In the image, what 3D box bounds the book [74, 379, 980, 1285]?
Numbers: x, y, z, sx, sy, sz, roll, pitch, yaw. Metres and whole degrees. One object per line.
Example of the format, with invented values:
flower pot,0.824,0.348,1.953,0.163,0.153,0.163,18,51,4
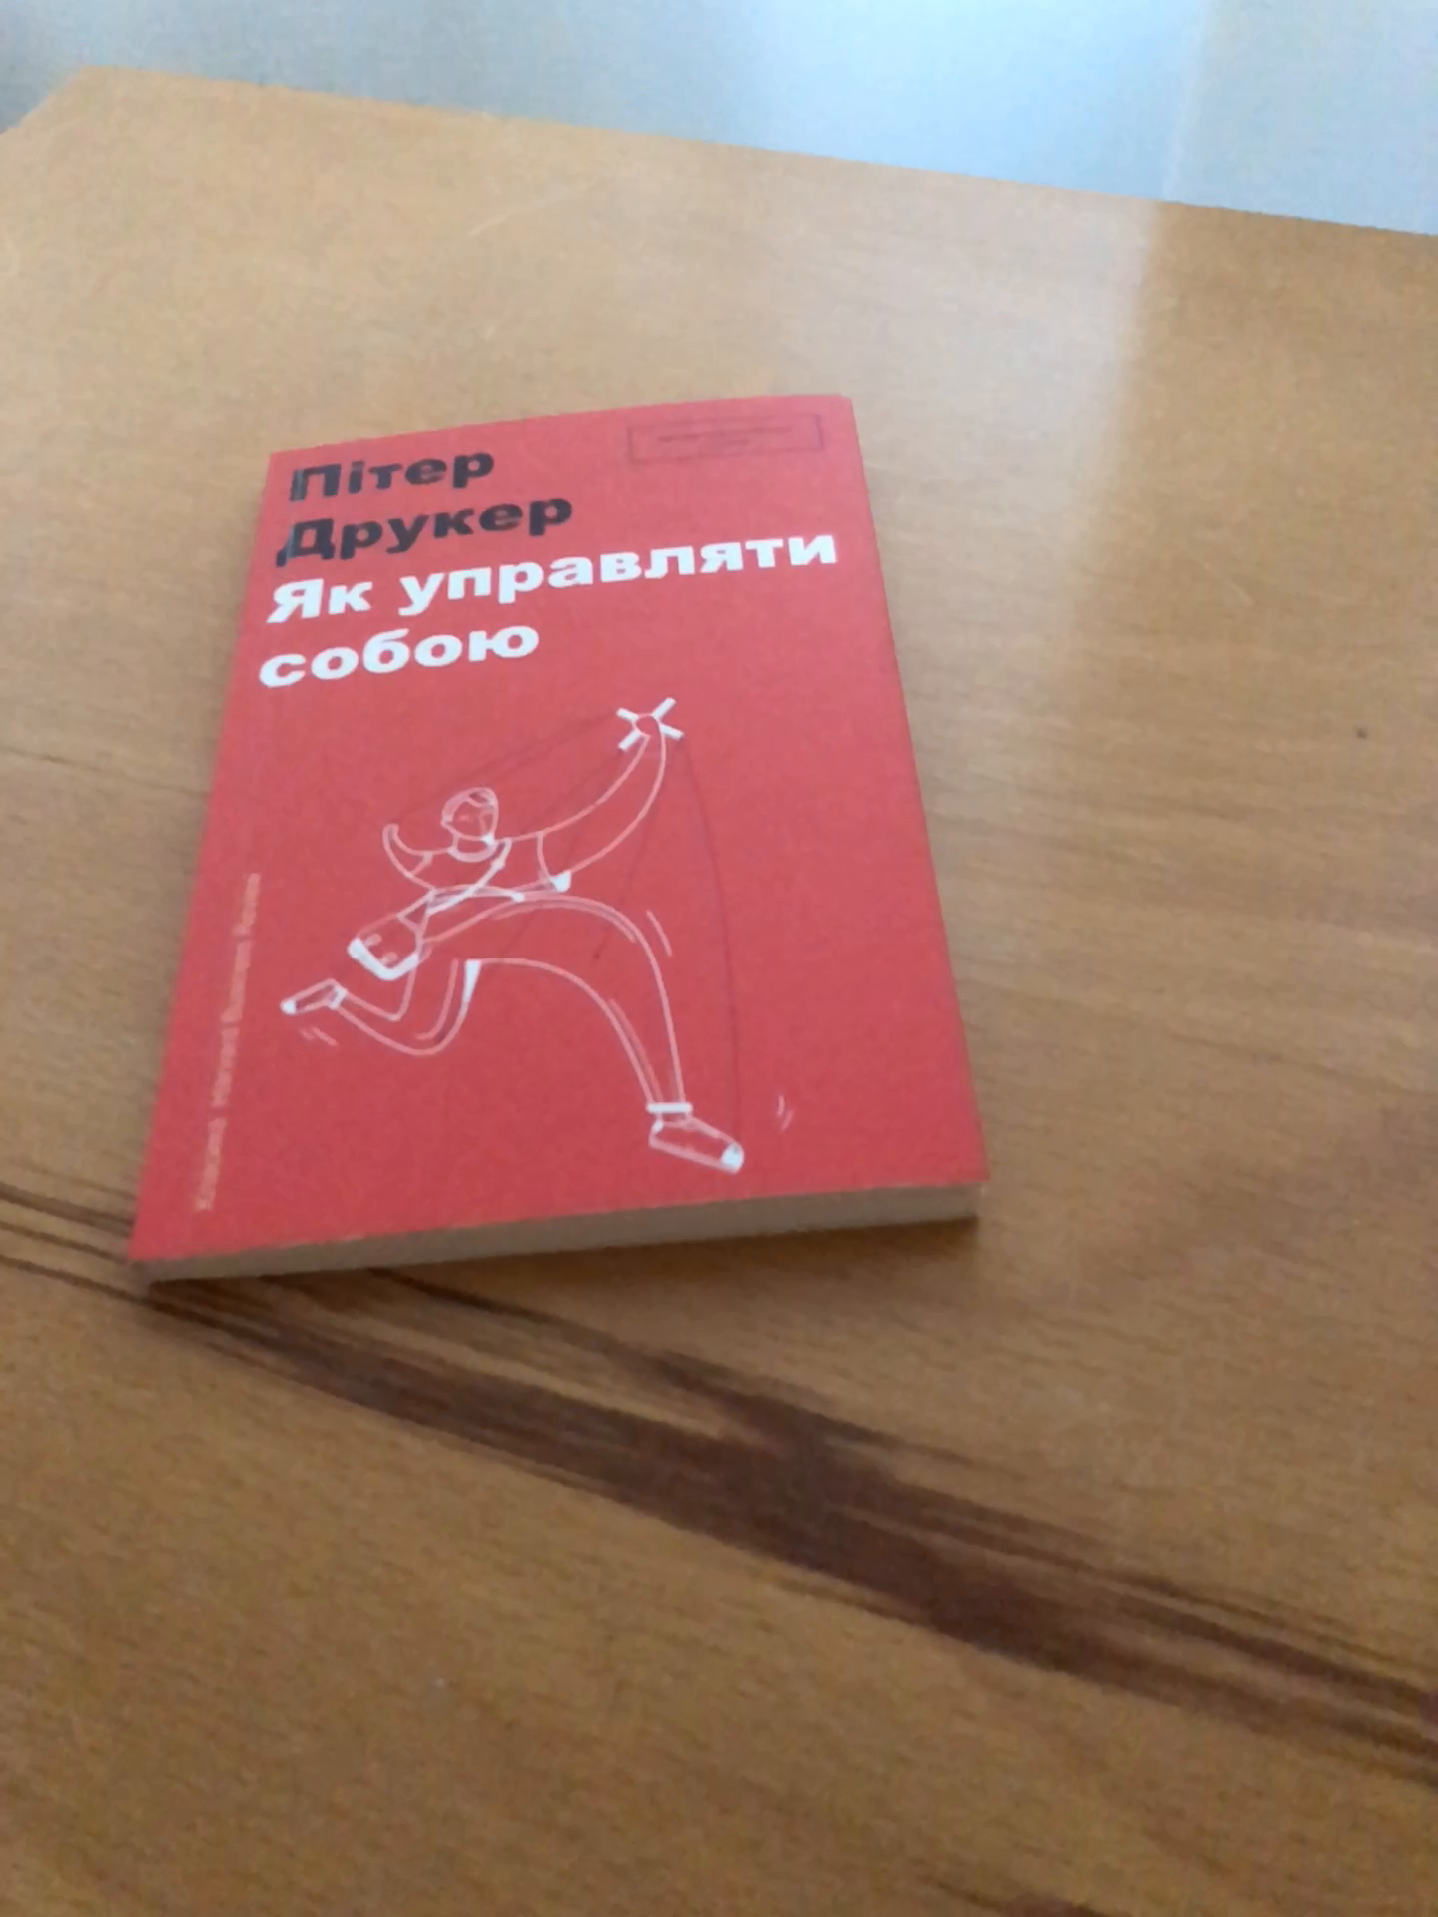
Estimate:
book,-0.027,-0.032,0.248,0.111,0.013,0.164,-5,53,2
